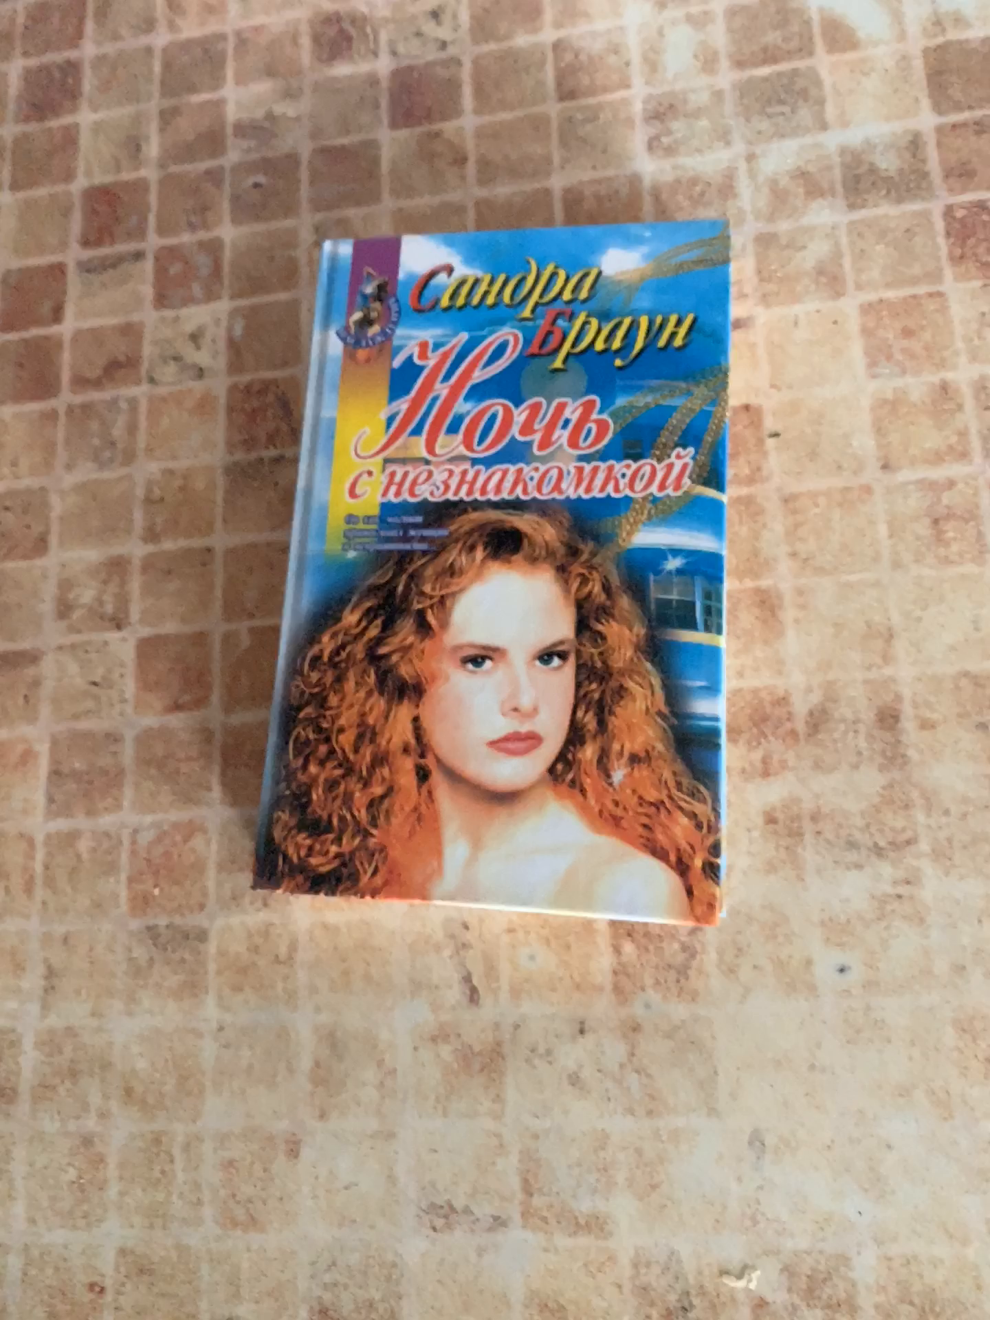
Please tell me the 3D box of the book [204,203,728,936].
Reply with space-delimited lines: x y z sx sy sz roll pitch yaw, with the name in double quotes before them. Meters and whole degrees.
"book" -0.003 -0.029 0.291 0.130 0.029 0.198 1 77 11
